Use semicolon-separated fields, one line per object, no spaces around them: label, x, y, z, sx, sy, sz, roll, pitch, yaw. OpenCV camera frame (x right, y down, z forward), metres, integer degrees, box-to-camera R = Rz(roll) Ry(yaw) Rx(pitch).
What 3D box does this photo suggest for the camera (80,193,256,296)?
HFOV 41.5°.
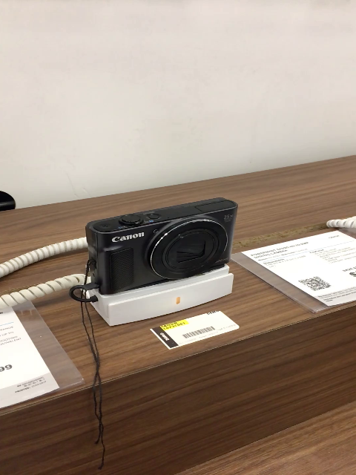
camera;-0.005;0.002;0.318;0.107;0.045;0.030;-13;34;-23
